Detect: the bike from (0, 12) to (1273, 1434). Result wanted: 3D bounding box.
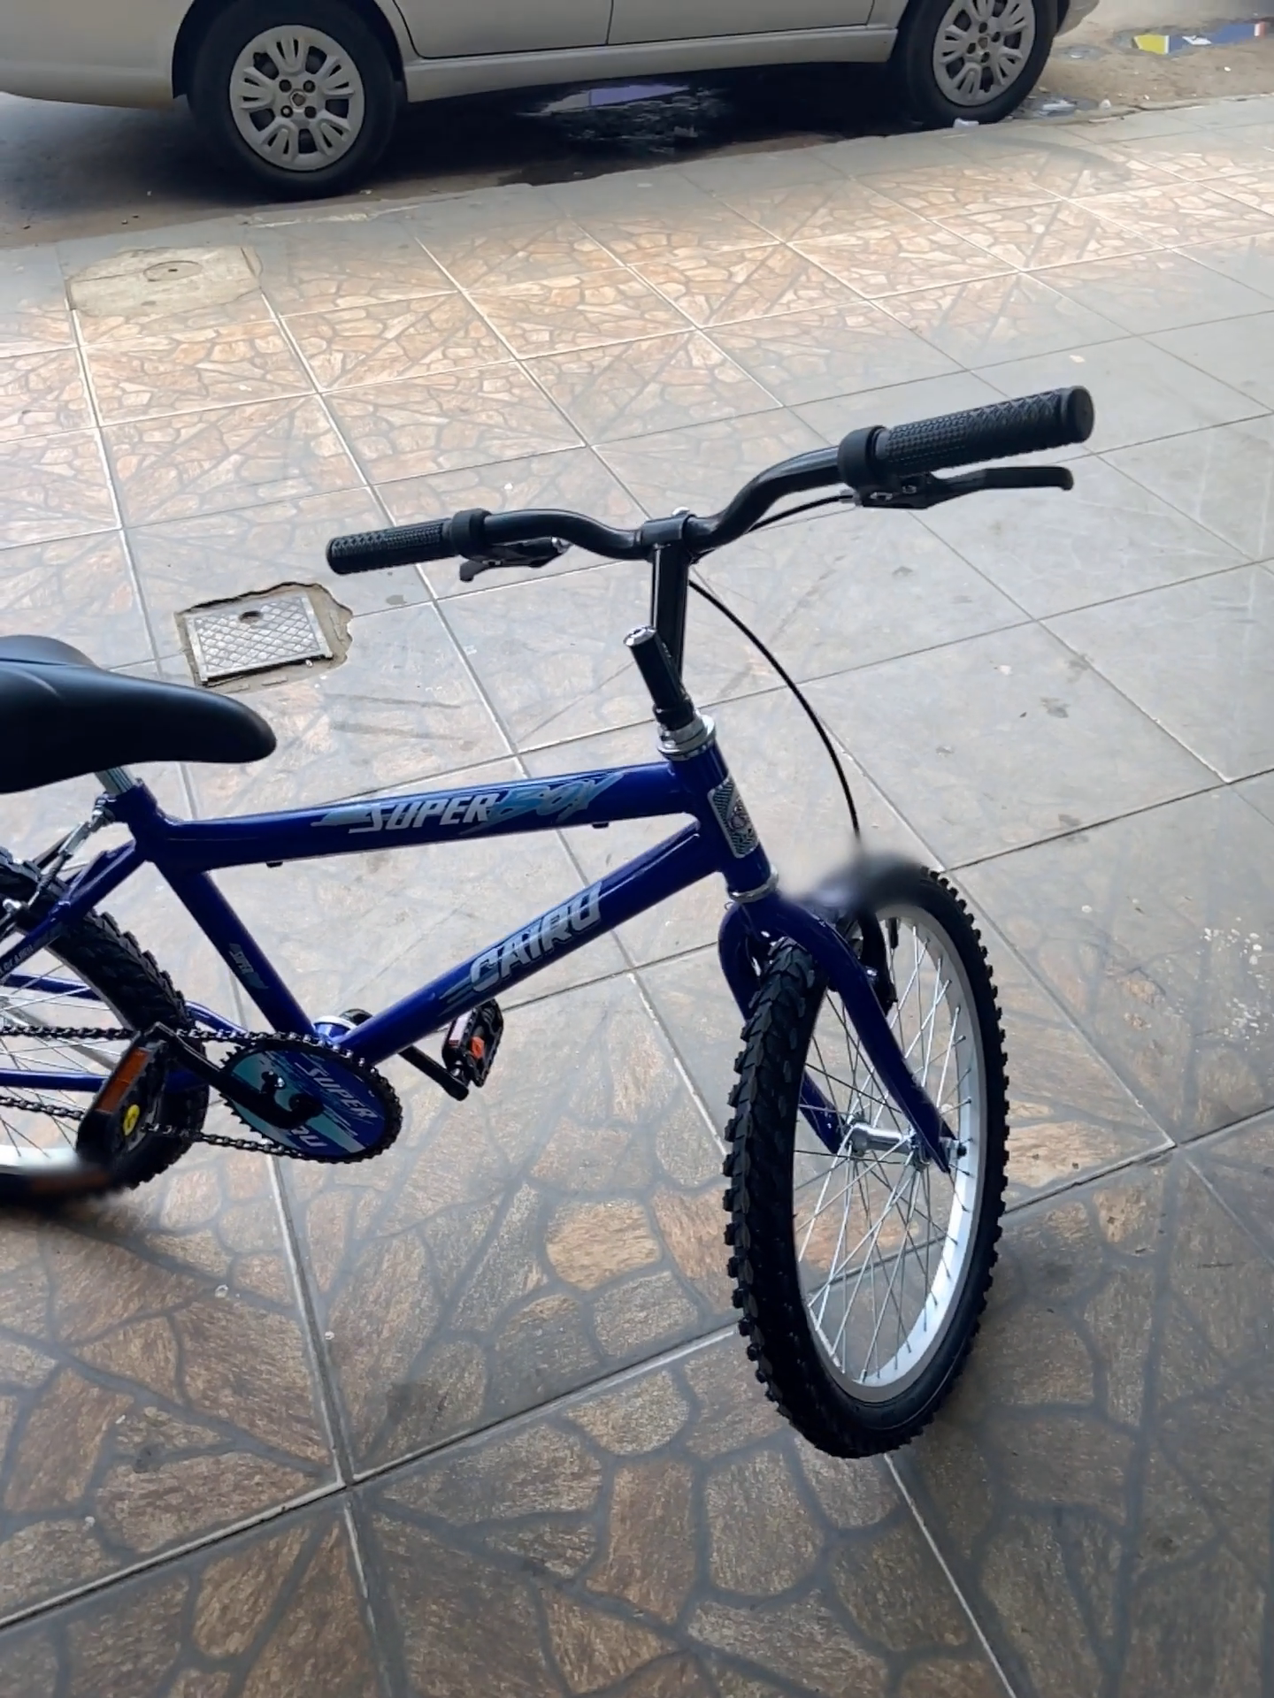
[{"bbox_3d":[-0.321,-0.009,1.038,1.181,0.949,0.546,-1,45,2],"label":"bike"}]
